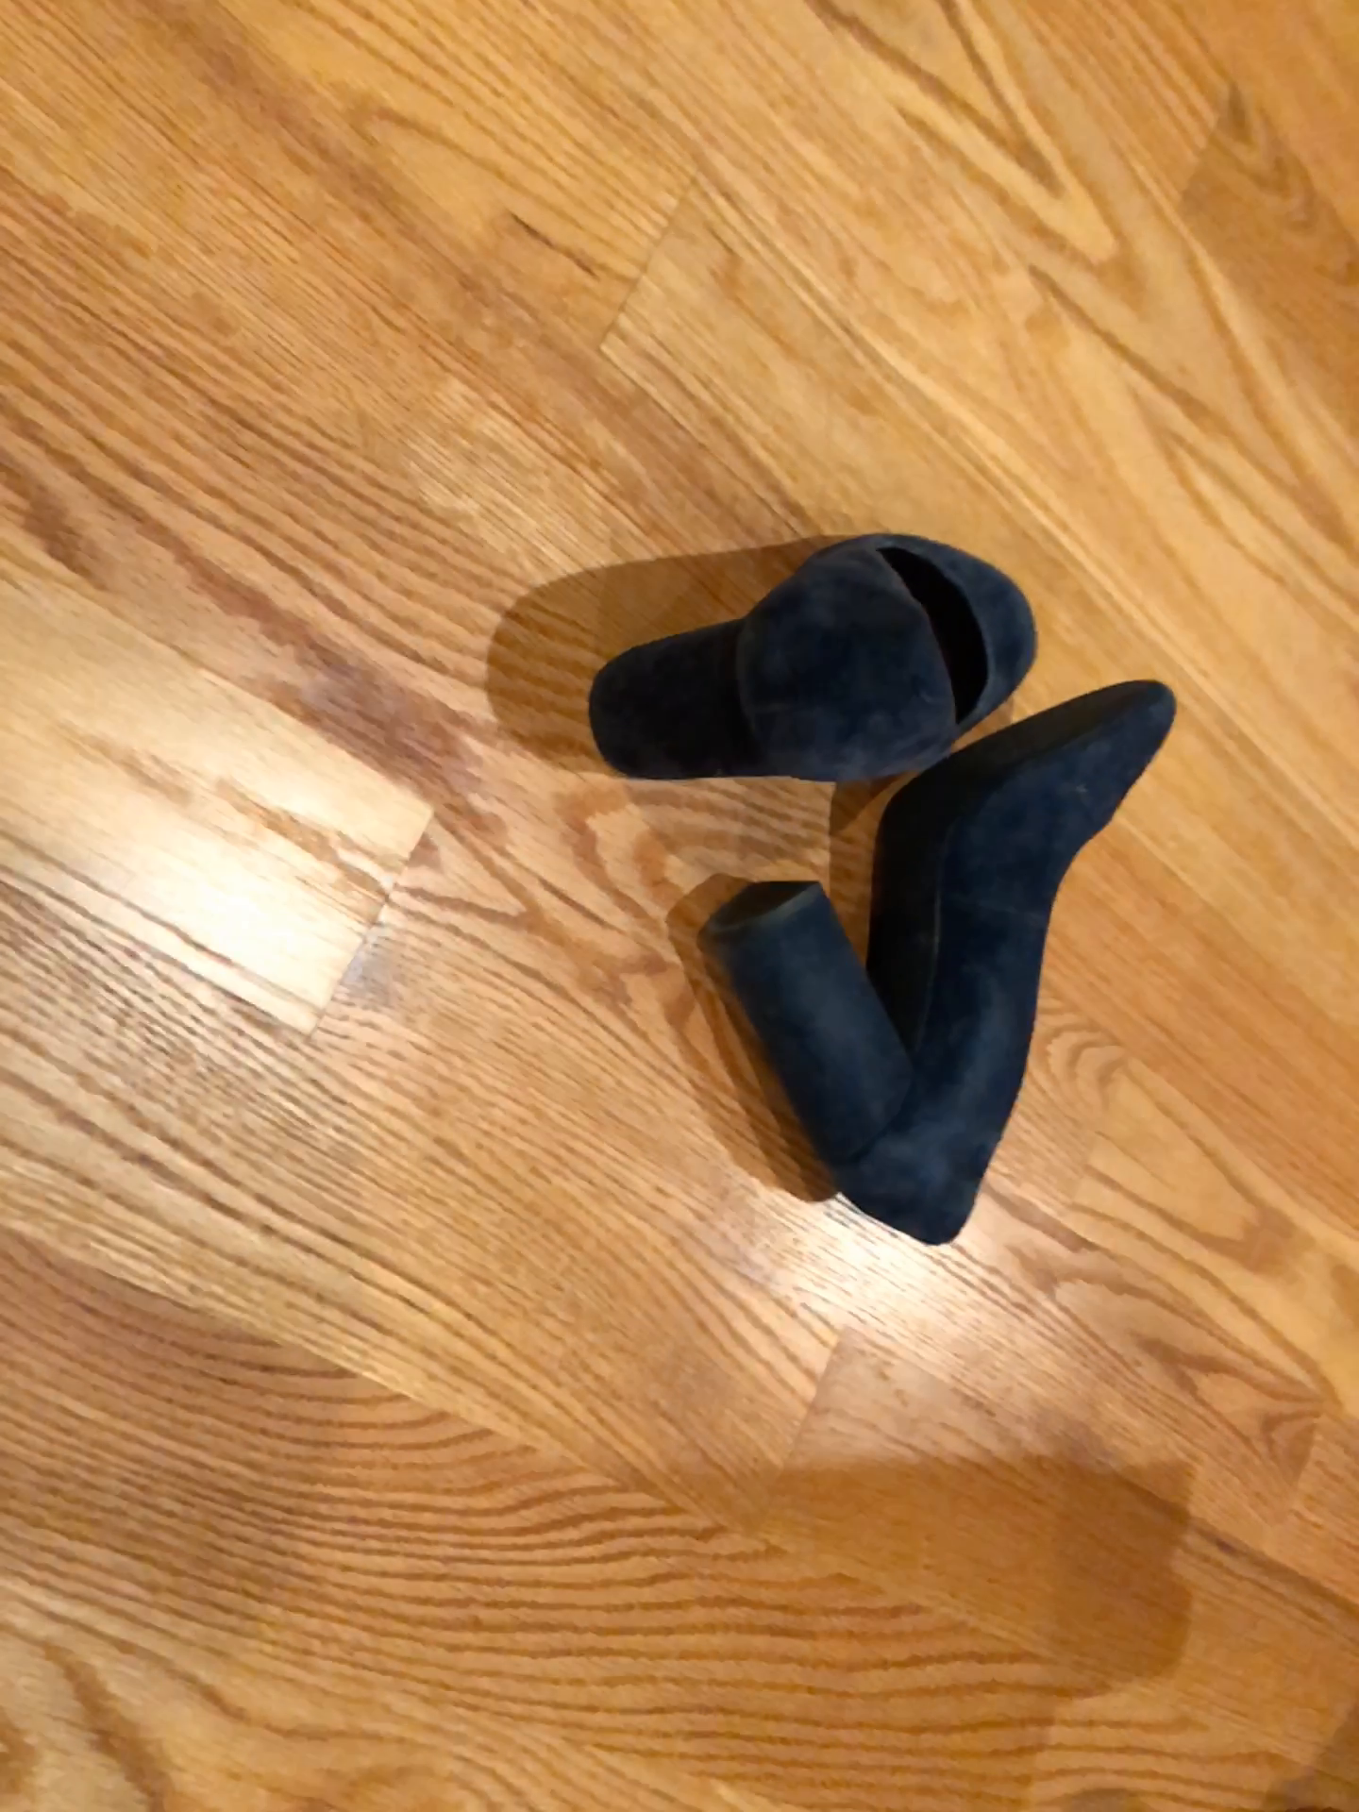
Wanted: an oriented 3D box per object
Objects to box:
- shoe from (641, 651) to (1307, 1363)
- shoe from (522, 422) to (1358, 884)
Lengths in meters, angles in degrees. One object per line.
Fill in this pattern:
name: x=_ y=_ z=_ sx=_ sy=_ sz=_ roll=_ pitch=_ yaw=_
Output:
shoe: x=0.114 y=0.027 z=0.537 sx=0.205 sy=0.080 sz=0.152 roll=-36 pitch=111 yaw=-28
shoe: x=0.091 y=-0.082 z=0.481 sx=0.227 sy=0.146 sz=0.080 roll=-22 pitch=104 yaw=-32
